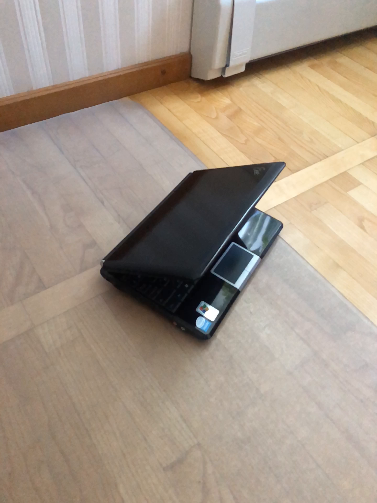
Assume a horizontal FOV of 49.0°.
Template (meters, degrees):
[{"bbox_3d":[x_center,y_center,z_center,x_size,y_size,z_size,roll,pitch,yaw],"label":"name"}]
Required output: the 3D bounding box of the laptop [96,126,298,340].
[{"bbox_3d":[0.022,-0.043,0.618,0.182,0.102,0.265,30,53,12],"label":"laptop"}]
